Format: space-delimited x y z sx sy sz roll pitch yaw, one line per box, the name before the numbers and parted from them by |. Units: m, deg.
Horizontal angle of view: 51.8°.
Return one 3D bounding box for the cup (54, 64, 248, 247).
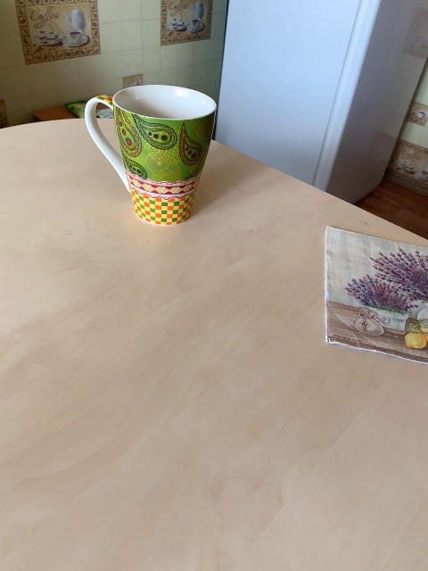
cup | -0.059 -0.131 0.426 0.130 0.109 0.110 28 44 24
